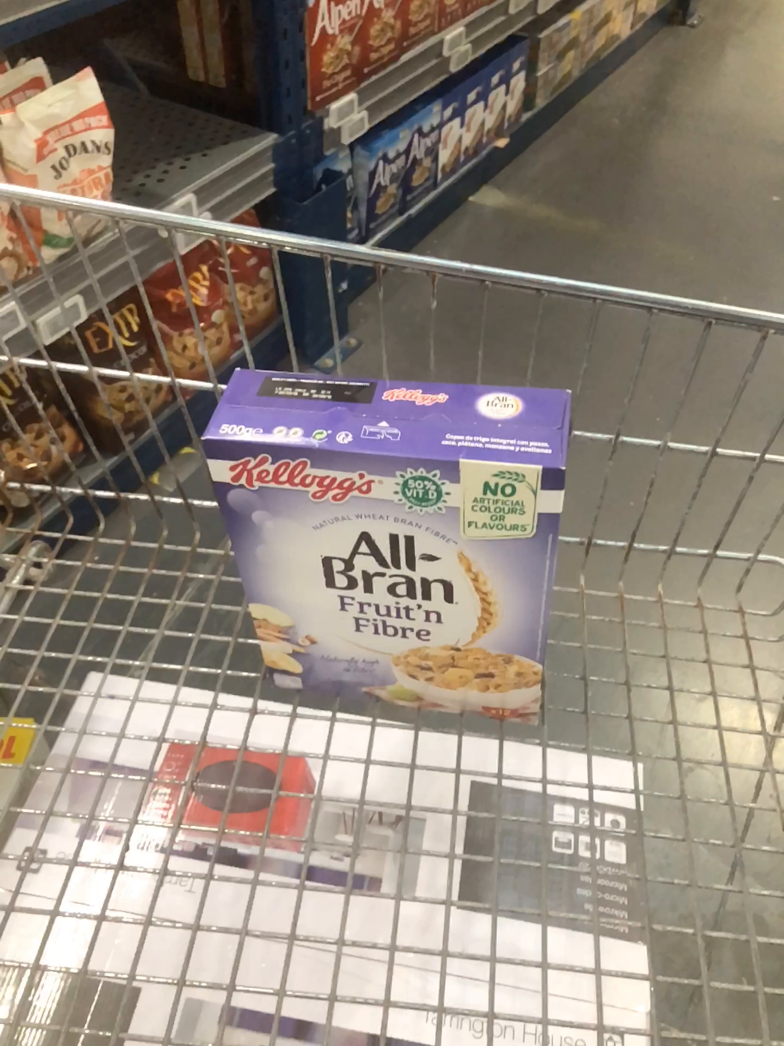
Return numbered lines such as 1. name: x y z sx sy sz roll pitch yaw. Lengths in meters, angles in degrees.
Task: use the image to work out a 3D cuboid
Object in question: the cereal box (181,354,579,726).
1. cereal box: 0.003 0.019 0.542 0.200 0.229 0.080 5 47 9
